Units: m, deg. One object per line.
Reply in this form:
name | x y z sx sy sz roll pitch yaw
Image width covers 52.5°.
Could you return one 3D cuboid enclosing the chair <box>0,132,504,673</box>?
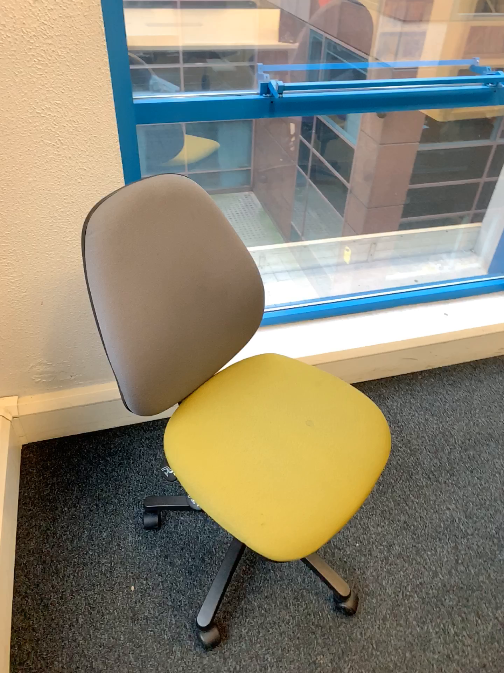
chair | 0.052 0.170 1.111 0.679 0.877 0.697 27 46 27
